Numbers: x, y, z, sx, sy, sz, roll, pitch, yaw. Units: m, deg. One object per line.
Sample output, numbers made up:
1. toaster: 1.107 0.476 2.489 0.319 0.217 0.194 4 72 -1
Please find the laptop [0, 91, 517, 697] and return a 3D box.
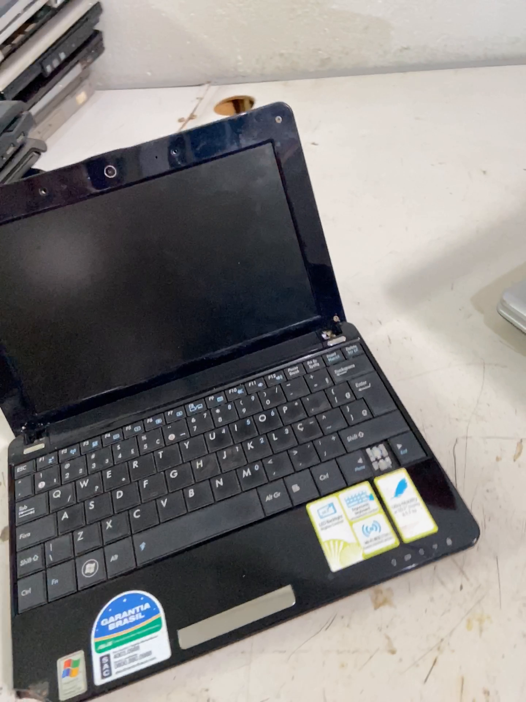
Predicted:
1. laptop: -0.058 0.001 0.325 0.258 0.131 0.266 -19 50 -4
